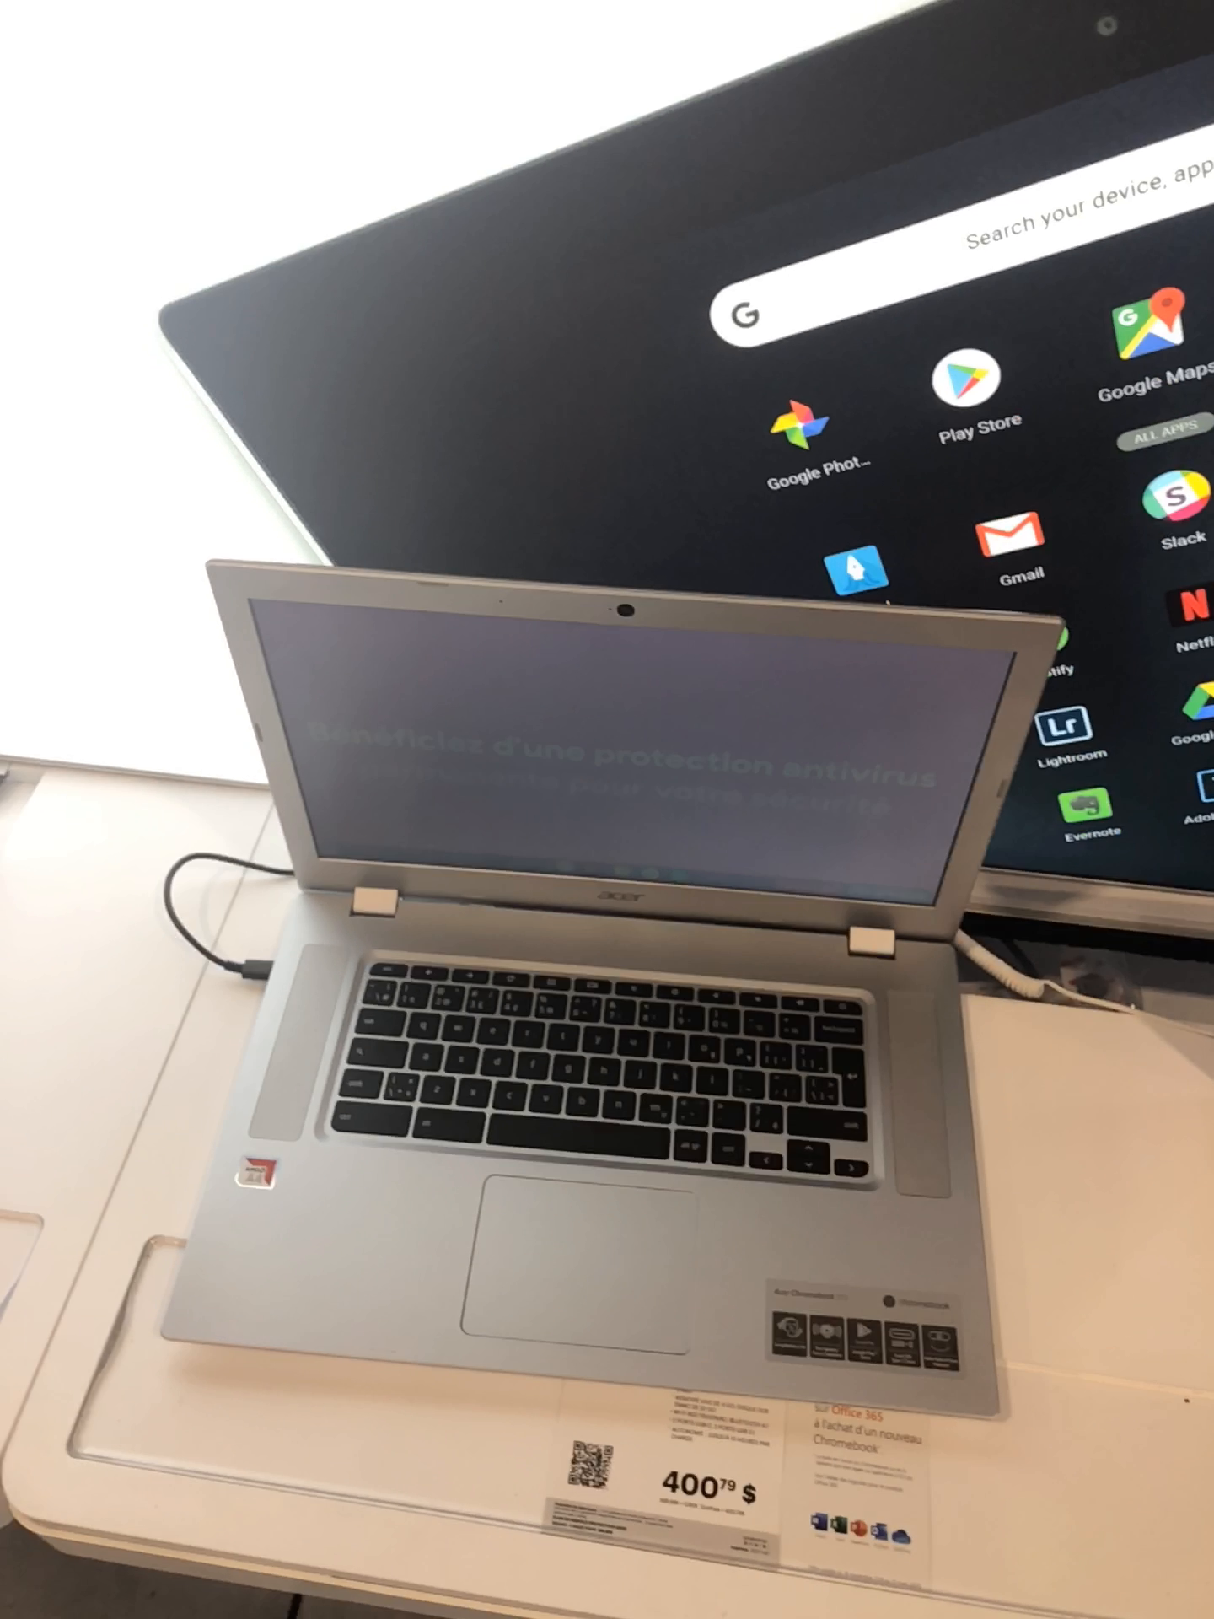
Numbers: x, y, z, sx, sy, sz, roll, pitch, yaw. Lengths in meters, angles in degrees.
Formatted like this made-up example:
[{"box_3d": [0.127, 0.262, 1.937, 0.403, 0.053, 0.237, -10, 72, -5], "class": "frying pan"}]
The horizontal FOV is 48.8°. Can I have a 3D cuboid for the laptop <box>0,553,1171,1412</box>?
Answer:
[{"box_3d": [-0.005, 0.076, 0.600, 0.377, 0.250, 0.265, 4, 49, 3], "class": "laptop"}]
